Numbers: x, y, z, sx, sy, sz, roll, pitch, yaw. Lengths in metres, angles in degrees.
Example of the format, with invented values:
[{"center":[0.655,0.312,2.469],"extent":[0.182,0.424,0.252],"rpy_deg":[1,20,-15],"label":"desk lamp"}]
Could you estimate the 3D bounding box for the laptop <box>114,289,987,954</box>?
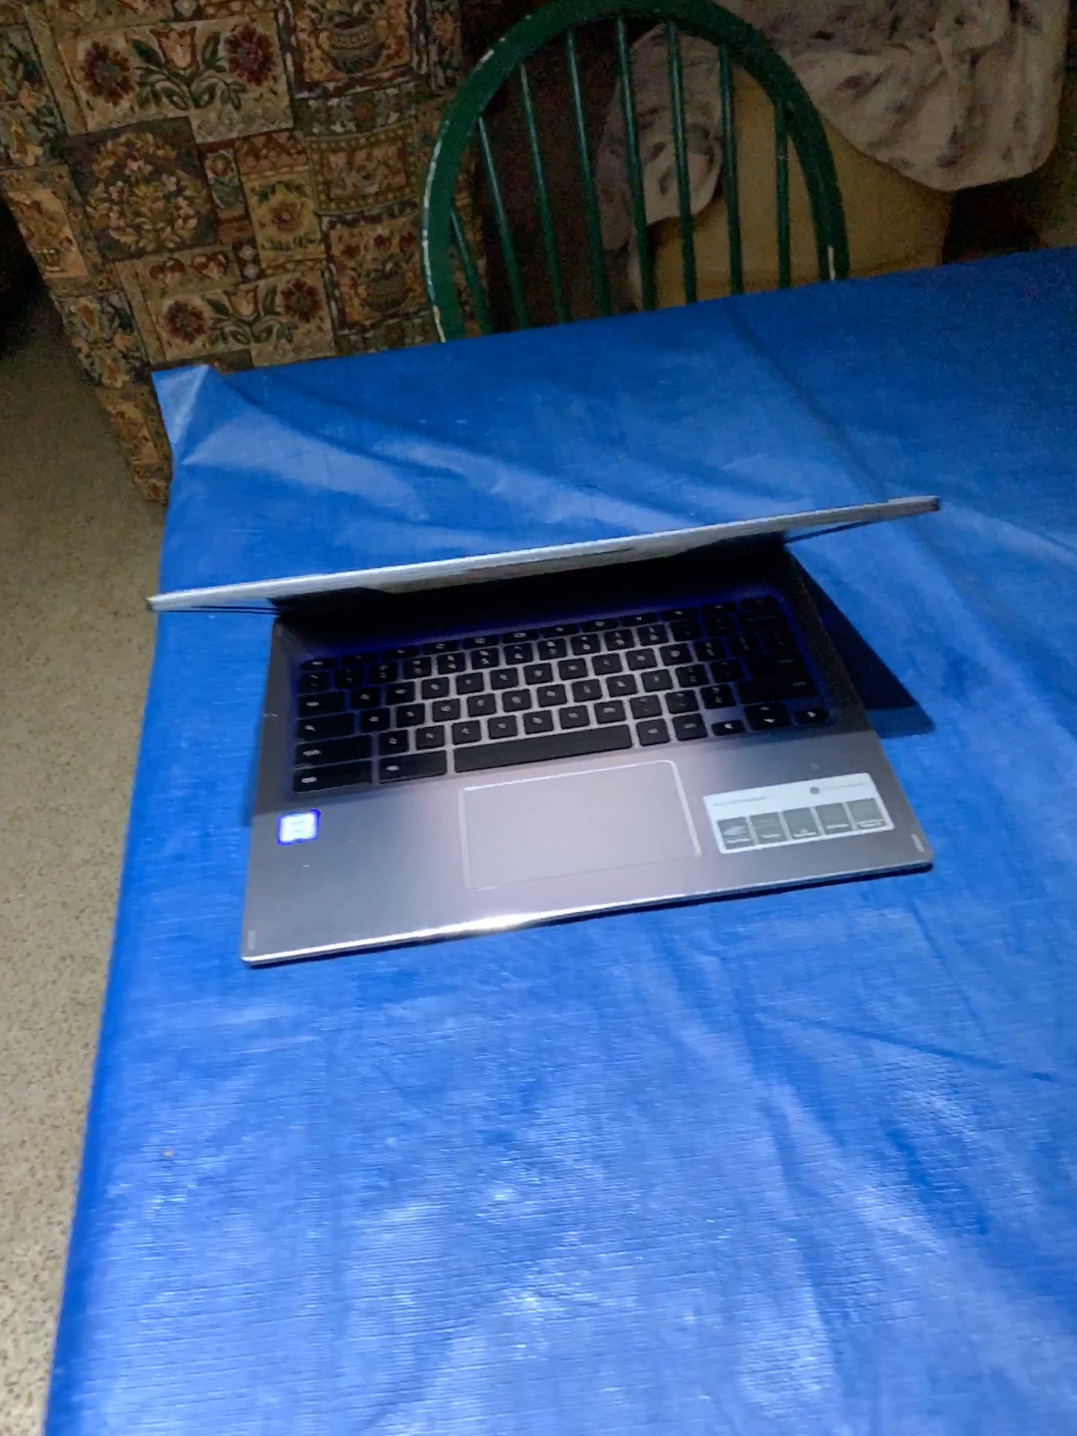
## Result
[{"center":[-0.001,-0.058,0.521],"extent":[0.303,0.150,0.251],"rpy_deg":[-8,44,-1],"label":"laptop"}]
